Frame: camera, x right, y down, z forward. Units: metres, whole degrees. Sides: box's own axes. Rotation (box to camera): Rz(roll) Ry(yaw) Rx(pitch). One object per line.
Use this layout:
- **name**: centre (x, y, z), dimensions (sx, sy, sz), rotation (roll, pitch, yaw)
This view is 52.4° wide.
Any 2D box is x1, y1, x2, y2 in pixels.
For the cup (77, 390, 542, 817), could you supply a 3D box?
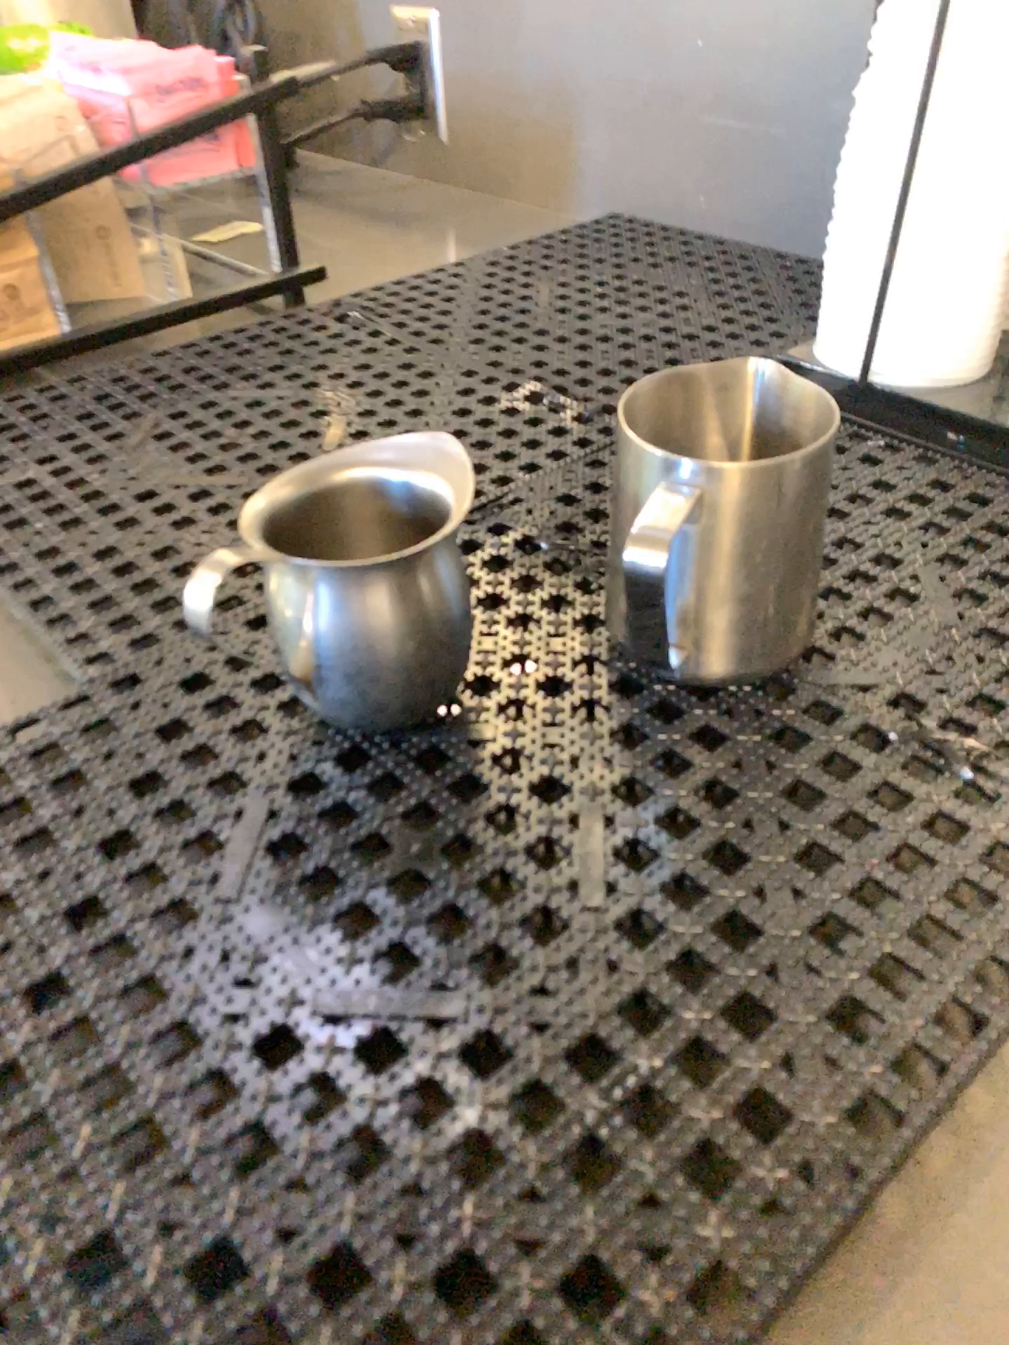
- **cup**: centre (-0.054, -0.030, 0.334), dimensions (0.080, 0.070, 0.120), rotation (21, 43, 27)

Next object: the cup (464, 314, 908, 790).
- **cup**: centre (0.057, -0.044, 0.309), dimensions (0.080, 0.080, 0.120), rotation (19, 43, 26)
